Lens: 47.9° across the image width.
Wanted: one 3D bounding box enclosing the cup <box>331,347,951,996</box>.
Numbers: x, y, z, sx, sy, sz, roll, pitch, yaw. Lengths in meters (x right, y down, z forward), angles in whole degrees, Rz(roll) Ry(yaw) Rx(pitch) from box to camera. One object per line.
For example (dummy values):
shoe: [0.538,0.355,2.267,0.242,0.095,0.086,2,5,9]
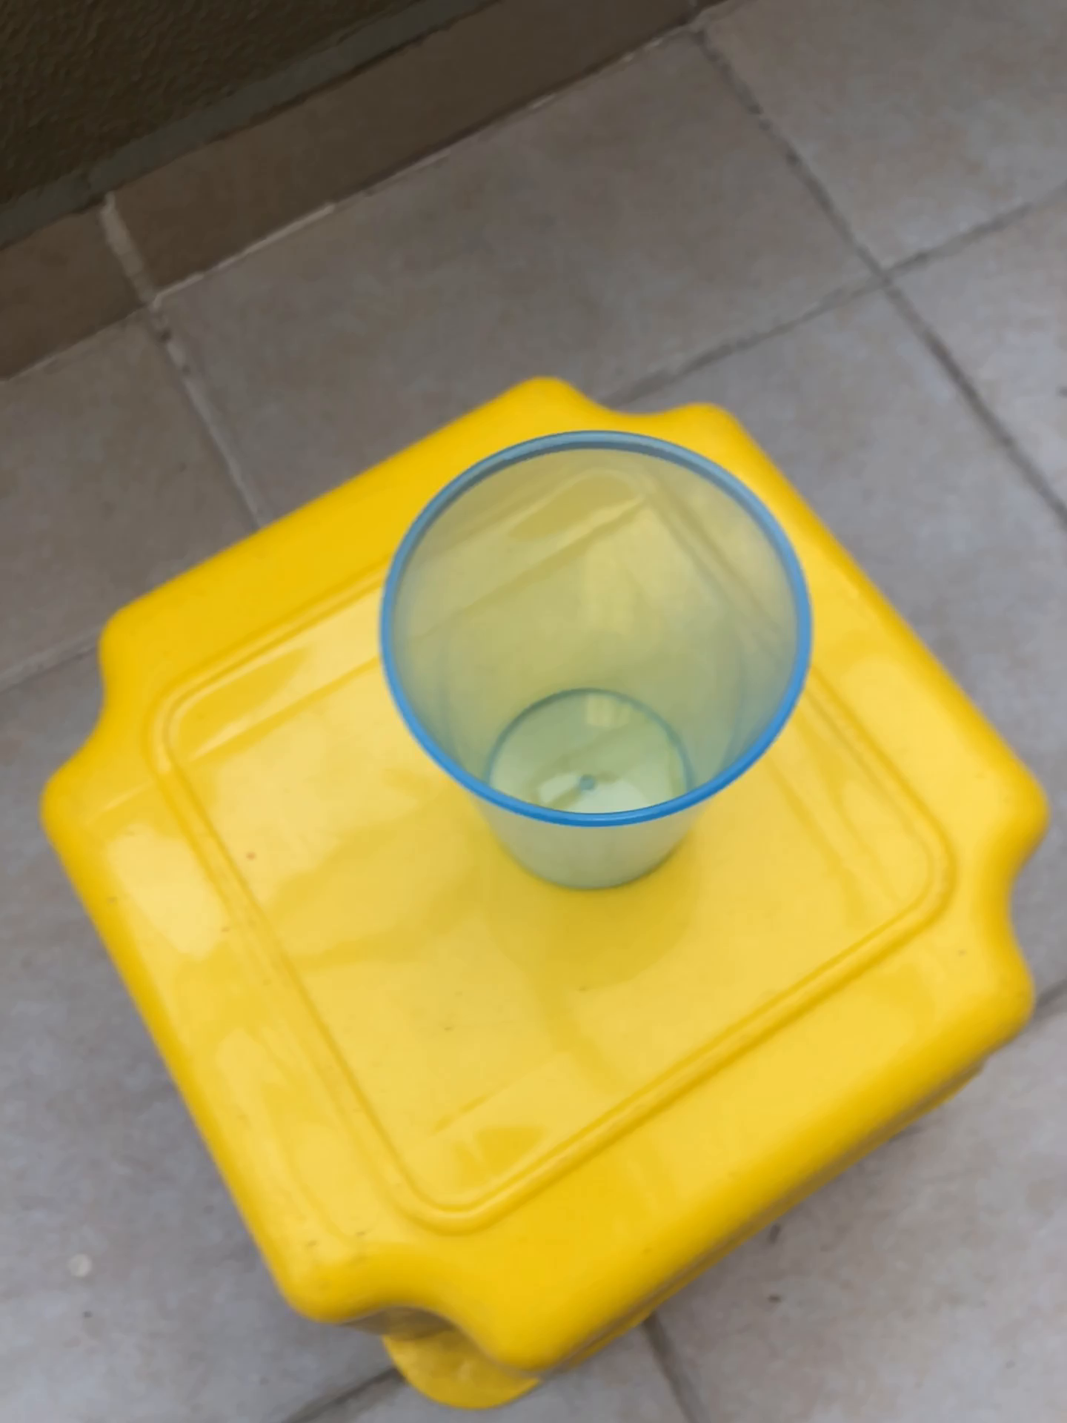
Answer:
cup: [0.020,-0.001,0.251,0.070,0.100,0.080,-37,72,-10]
